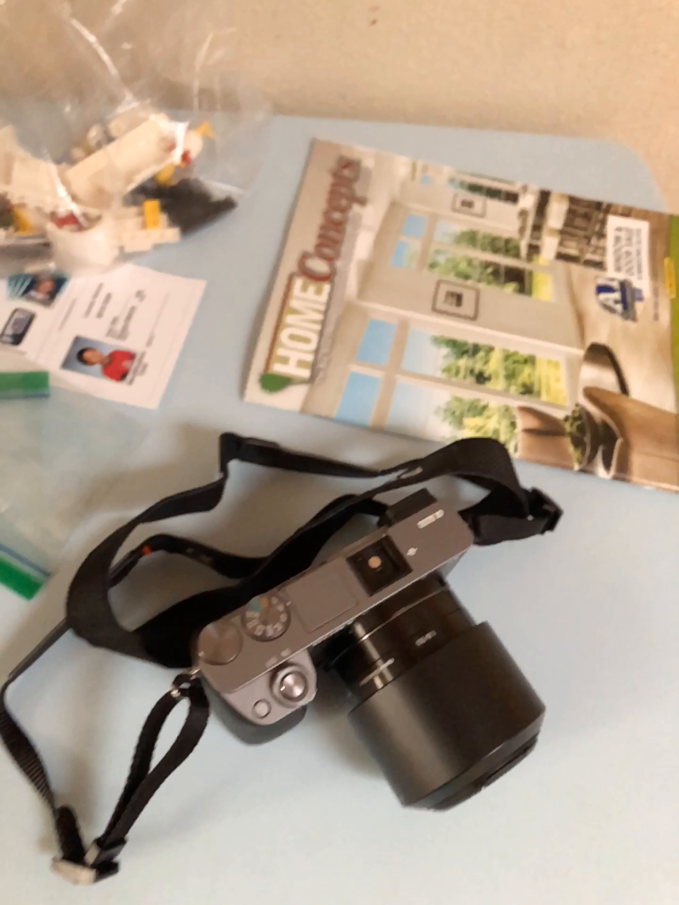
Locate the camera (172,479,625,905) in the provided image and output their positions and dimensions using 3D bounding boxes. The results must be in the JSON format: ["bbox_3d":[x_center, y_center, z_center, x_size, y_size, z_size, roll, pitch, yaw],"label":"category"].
[{"bbox_3d":[0.018,0.097,0.308,0.130,0.070,0.110,-26,70,-20],"label":"camera"}]
